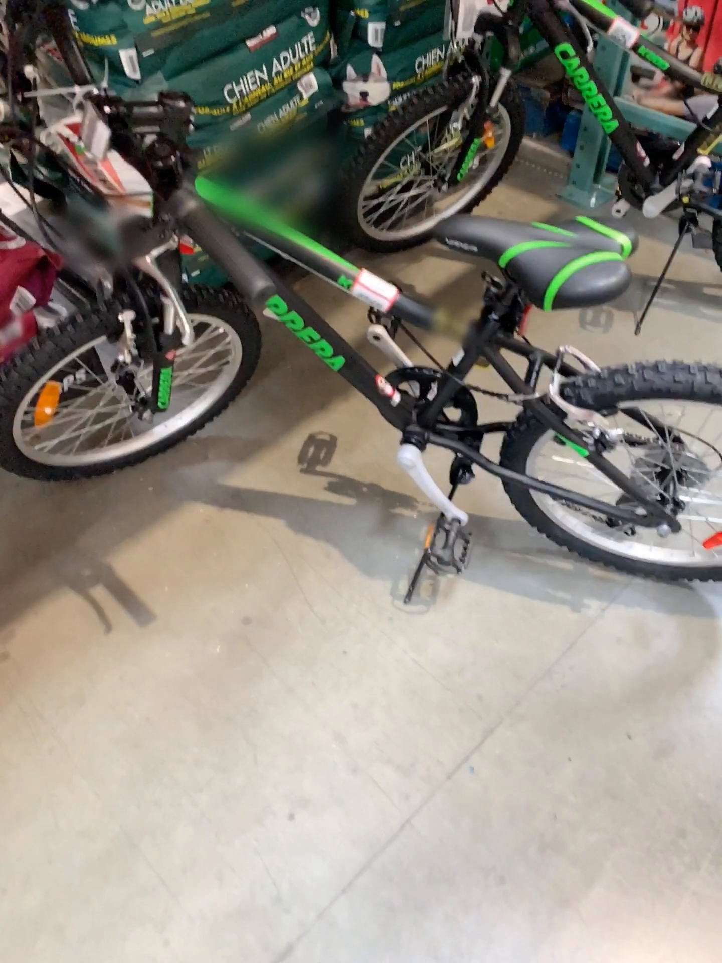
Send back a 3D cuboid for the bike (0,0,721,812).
[{"bbox_3d":[0.046,-0.120,0.970,1.304,0.856,0.711,6,51,5],"label":"bike"}]
